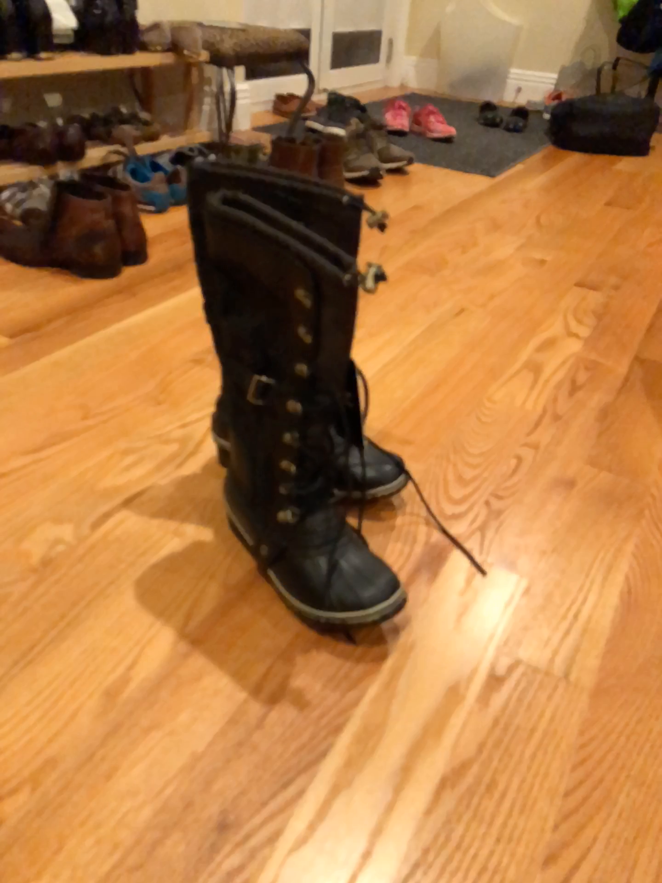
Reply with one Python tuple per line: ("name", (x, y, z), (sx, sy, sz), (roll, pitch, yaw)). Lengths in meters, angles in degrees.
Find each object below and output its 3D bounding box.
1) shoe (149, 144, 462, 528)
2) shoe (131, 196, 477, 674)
("shoe", (-0.031, -0.101, 0.724), (0.260, 0.328, 0.101), (13, 33, 12))
("shoe", (-0.041, -0.013, 0.604), (0.261, 0.308, 0.100), (31, 41, 34))
